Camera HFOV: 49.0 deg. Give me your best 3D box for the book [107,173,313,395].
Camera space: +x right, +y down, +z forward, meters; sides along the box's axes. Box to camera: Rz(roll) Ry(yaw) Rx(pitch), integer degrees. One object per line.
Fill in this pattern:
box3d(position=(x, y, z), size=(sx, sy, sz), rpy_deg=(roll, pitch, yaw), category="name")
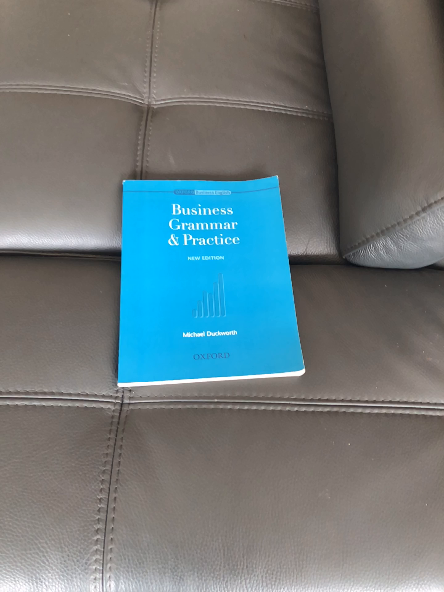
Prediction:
box3d(position=(-0.022, -0.026, 0.606), size=(0.230, 0.020, 0.280), rpy_deg=(-3, 68, -3), category="book")
